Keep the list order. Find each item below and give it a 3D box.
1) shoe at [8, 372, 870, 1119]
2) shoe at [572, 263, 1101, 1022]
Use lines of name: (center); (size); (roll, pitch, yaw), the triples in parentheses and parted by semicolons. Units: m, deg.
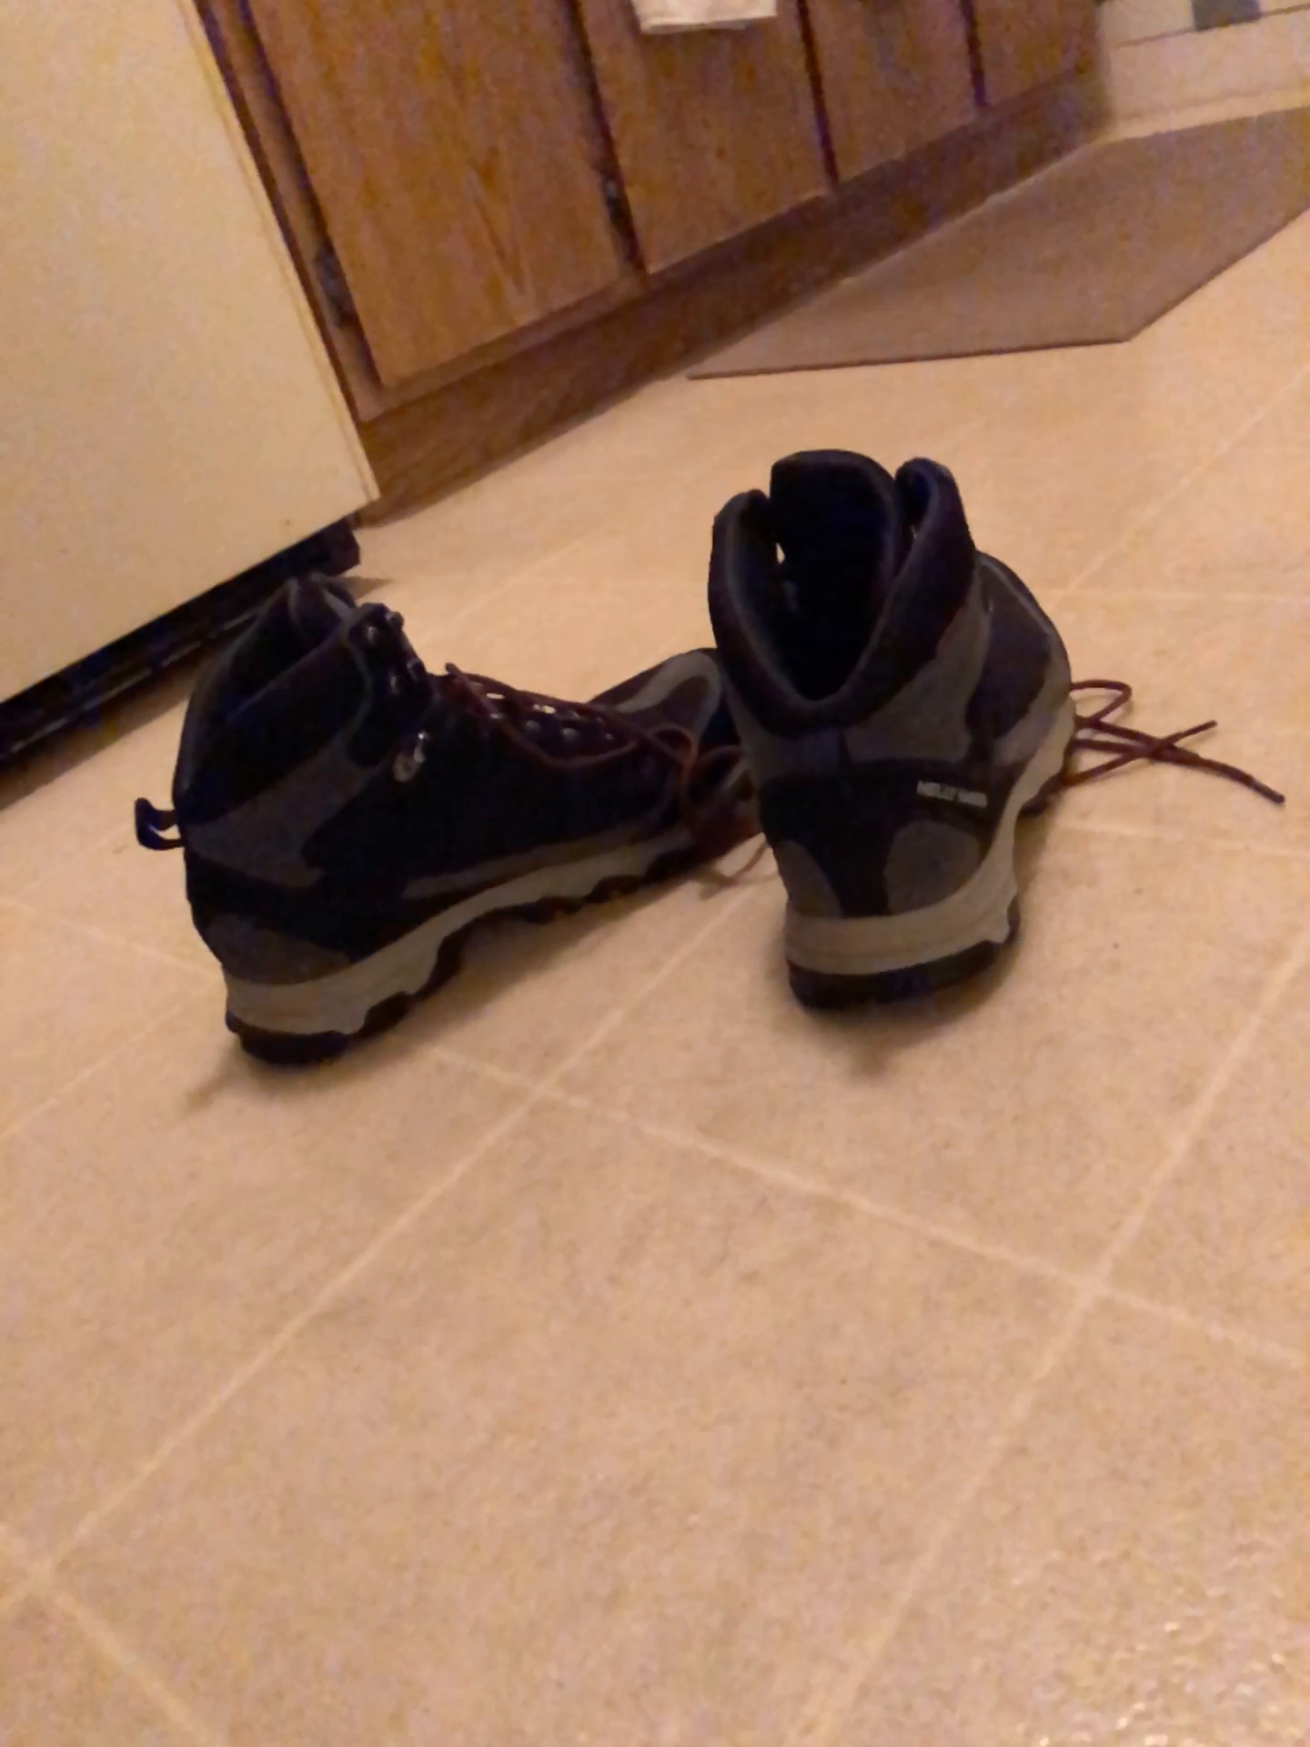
shoe: (-0.084, -0.070, 0.641); (0.309, 0.195, 0.127); (-28, 30, -17)
shoe: (0.102, -0.109, 0.606); (0.116, 0.195, 0.301); (-3, 32, 25)
